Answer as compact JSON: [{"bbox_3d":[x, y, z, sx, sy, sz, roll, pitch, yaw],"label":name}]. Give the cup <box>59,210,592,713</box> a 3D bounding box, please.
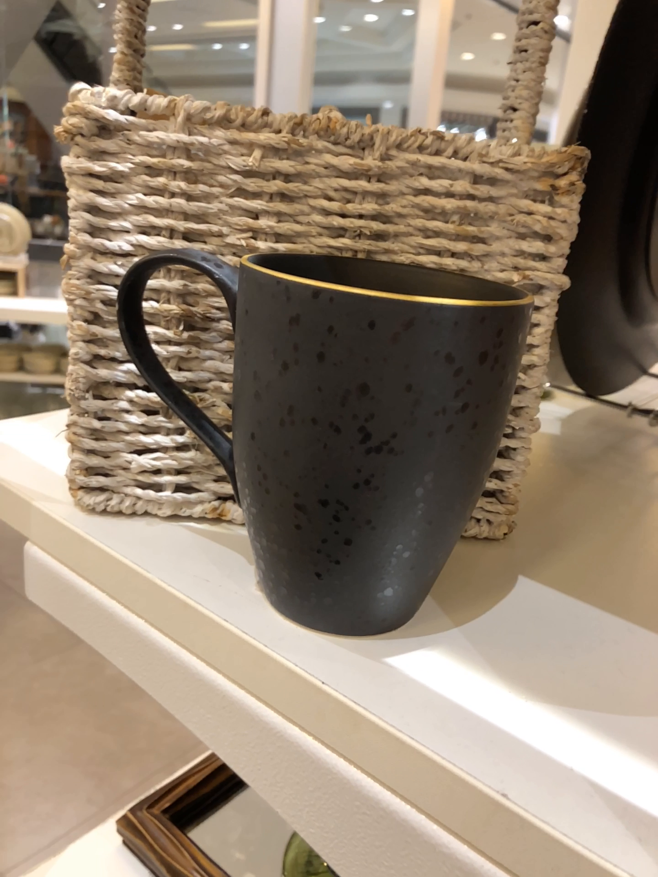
[{"bbox_3d":[-0.003,-0.008,0.213,0.120,0.099,0.080,15,21,28],"label":"cup"}]
